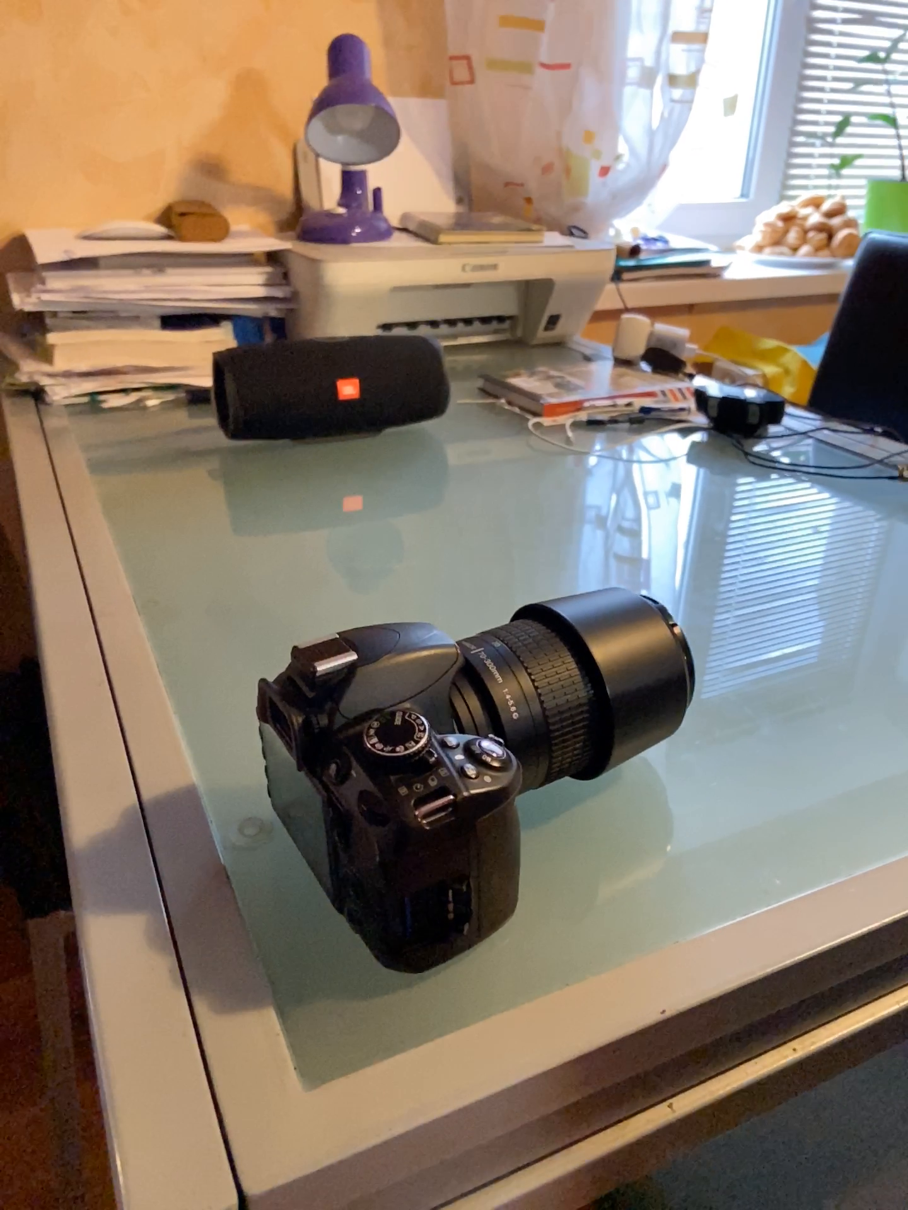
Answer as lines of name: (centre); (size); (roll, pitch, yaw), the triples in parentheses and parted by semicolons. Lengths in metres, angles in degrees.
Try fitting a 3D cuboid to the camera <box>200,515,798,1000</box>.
camera: (0.017, 0.046, 0.408); (0.209, 0.099, 0.135); (-14, 30, -28)
